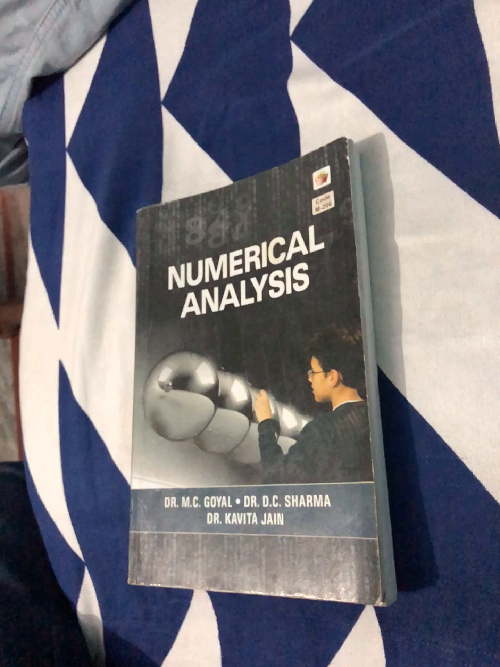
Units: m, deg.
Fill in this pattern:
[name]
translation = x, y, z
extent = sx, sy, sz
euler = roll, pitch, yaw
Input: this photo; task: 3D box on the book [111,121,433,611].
[book]
translation = -0.001, 0.016, 0.262
extent = 0.141, 0.030, 0.190
euler = -11, 74, 30
